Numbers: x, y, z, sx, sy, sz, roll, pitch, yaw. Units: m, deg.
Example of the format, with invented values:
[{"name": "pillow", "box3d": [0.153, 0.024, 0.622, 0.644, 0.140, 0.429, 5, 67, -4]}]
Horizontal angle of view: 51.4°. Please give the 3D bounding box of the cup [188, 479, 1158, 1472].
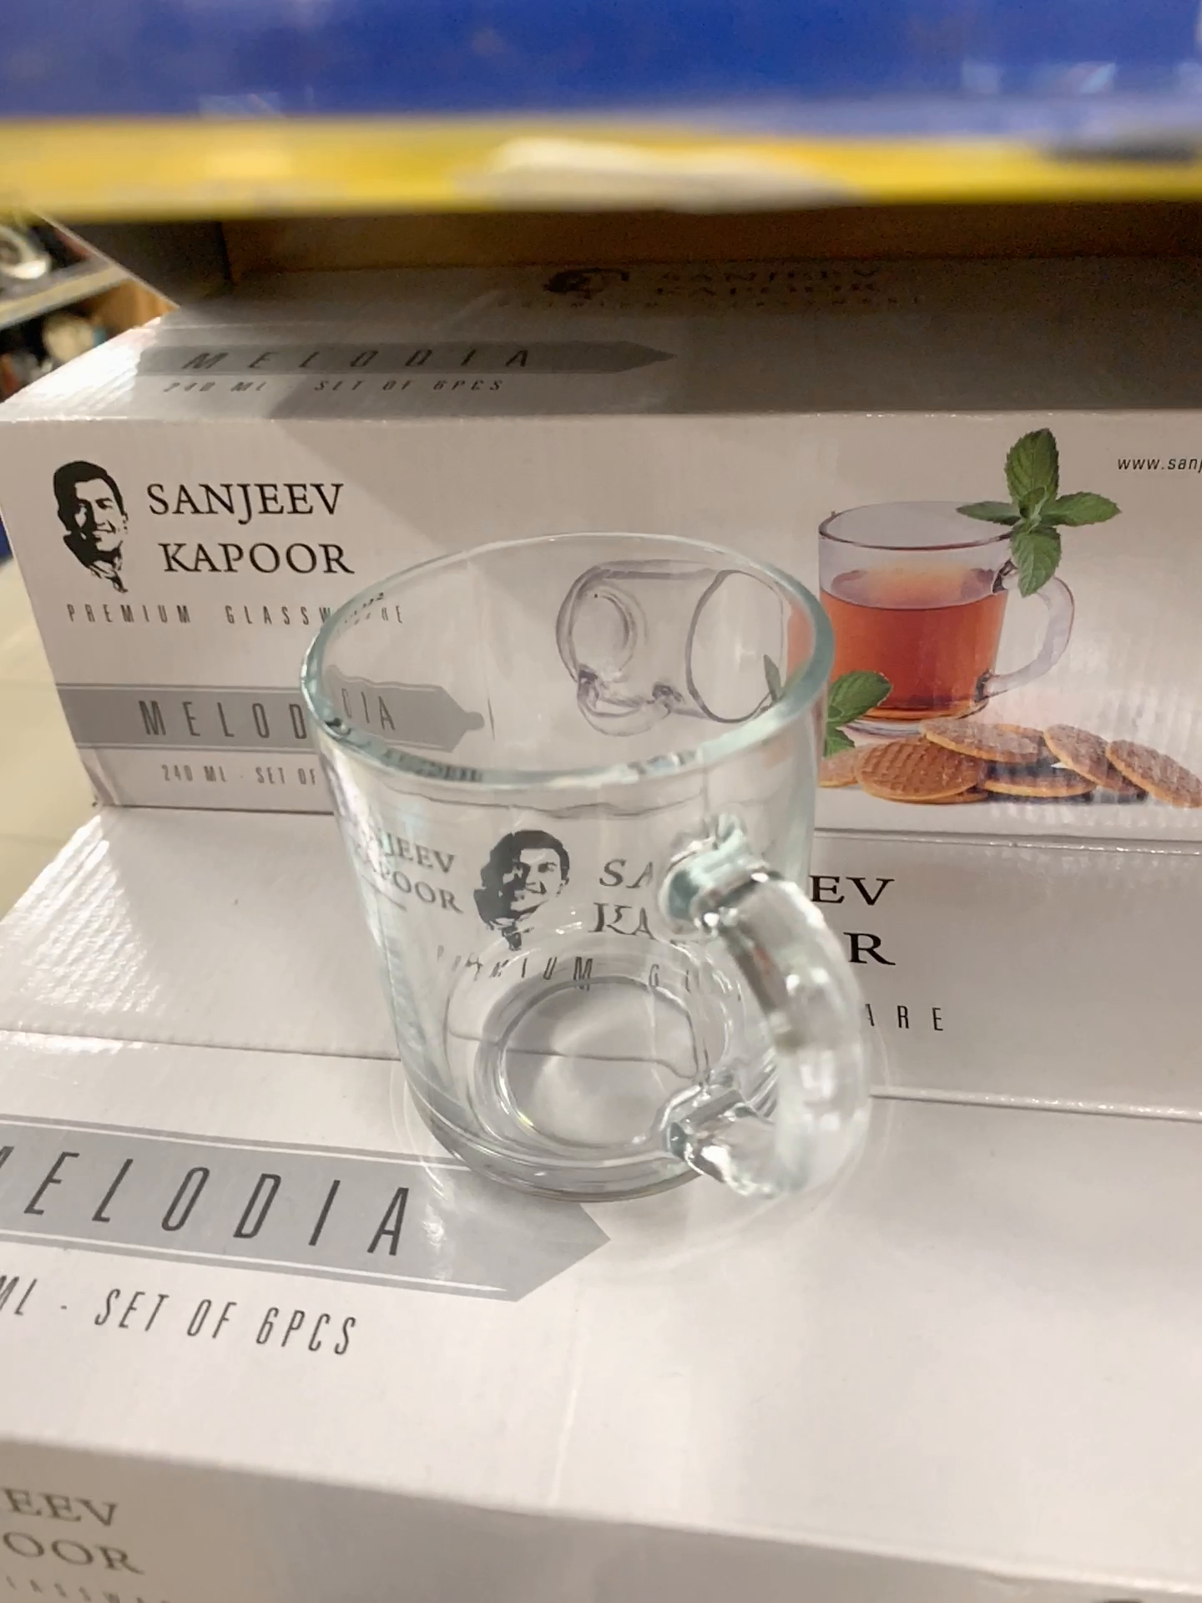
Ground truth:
[{"name": "cup", "box3d": [0.006, 0.013, 0.177, 0.070, 0.080, 0.100, -28, 41, -34]}]
